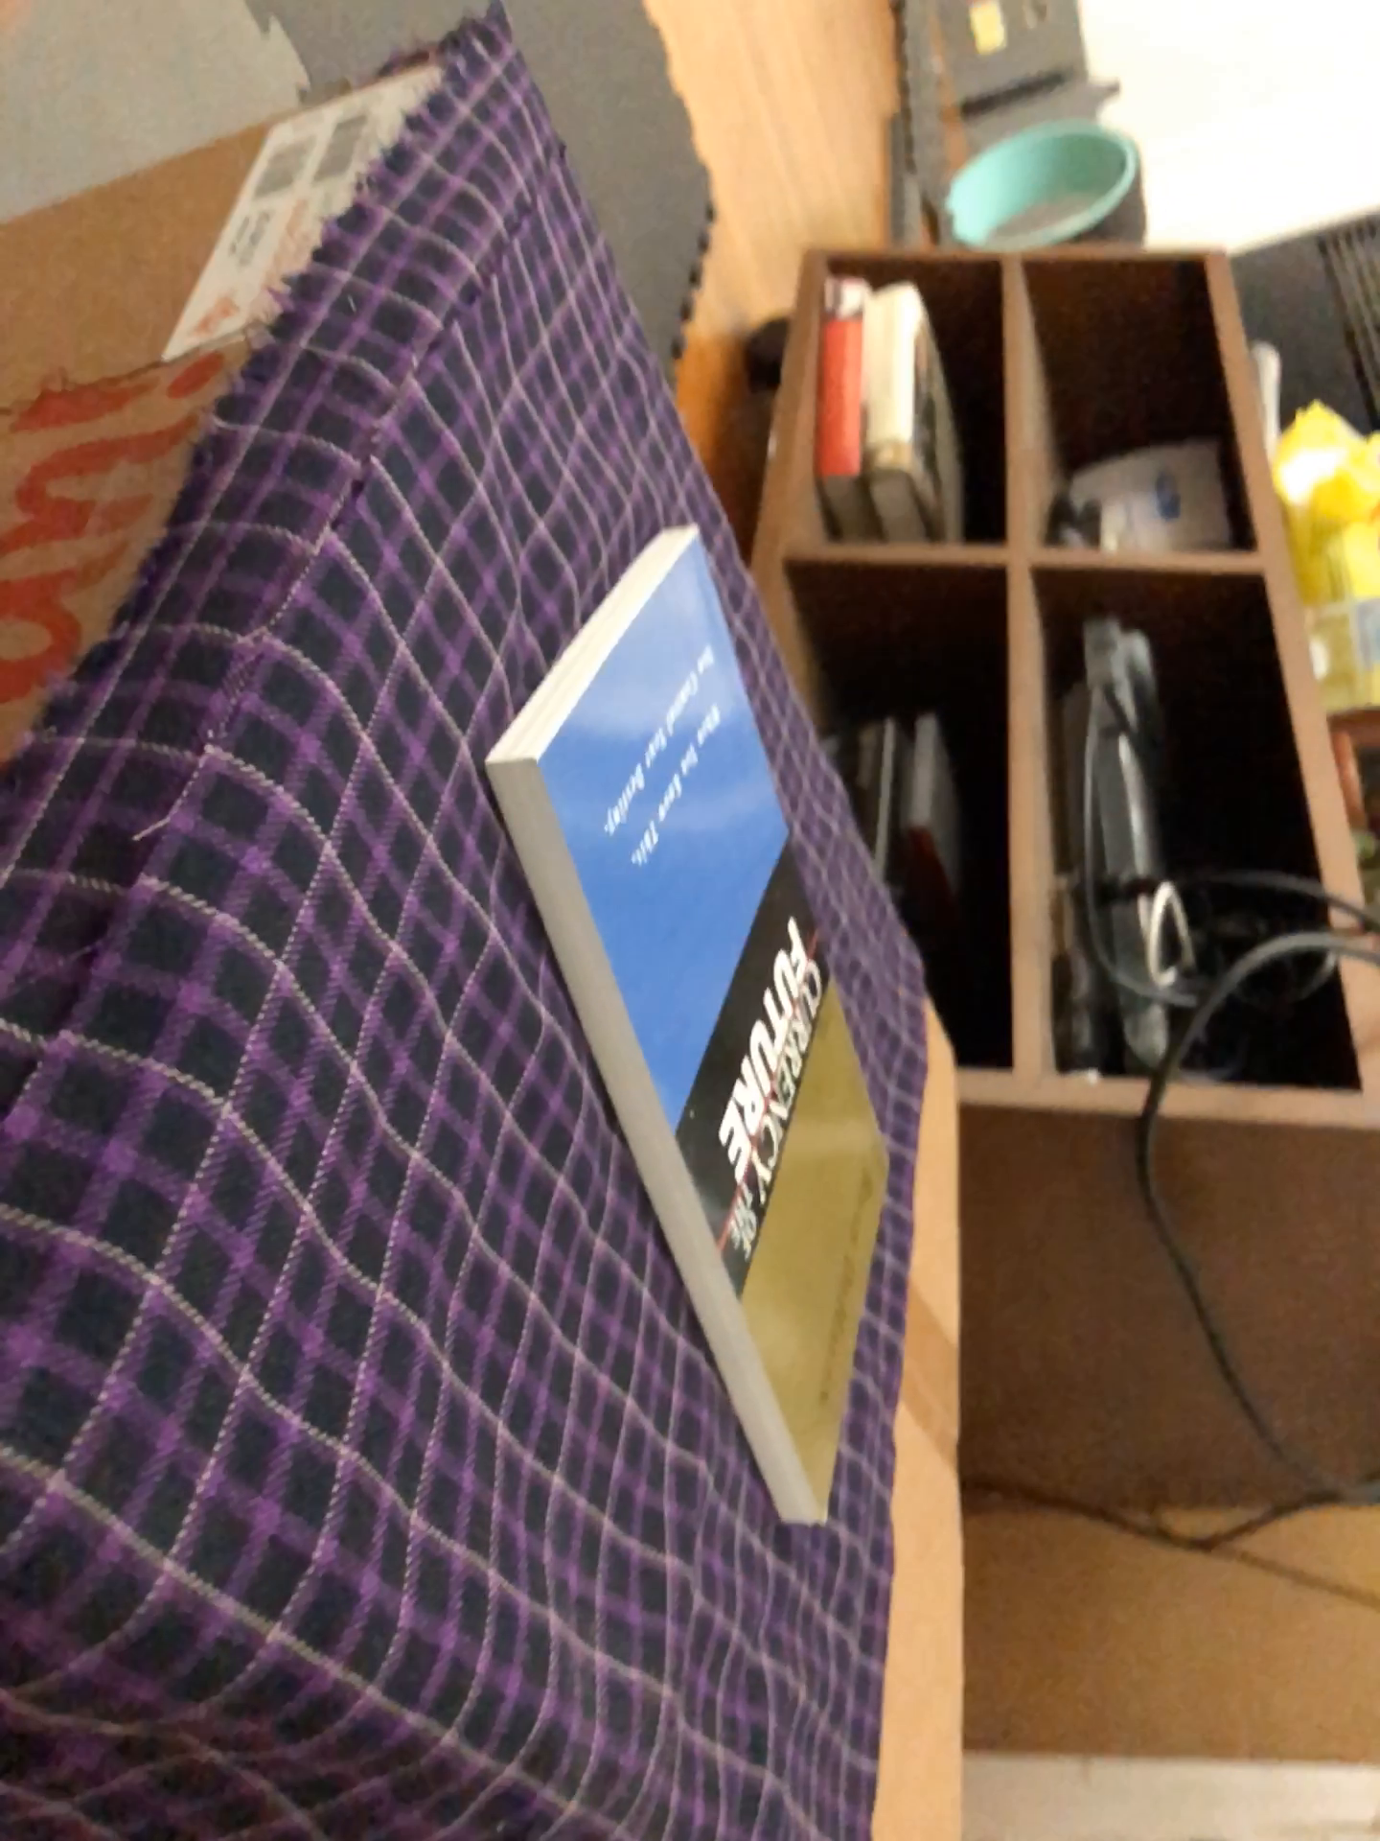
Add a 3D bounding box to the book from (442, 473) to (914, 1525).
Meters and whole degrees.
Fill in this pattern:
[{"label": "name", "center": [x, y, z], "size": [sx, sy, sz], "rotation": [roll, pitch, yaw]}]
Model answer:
[{"label": "book", "center": [0.014, 0.017, 0.390], "size": [0.151, 0.020, 0.220], "rotation": [-67, 143, -56]}]
